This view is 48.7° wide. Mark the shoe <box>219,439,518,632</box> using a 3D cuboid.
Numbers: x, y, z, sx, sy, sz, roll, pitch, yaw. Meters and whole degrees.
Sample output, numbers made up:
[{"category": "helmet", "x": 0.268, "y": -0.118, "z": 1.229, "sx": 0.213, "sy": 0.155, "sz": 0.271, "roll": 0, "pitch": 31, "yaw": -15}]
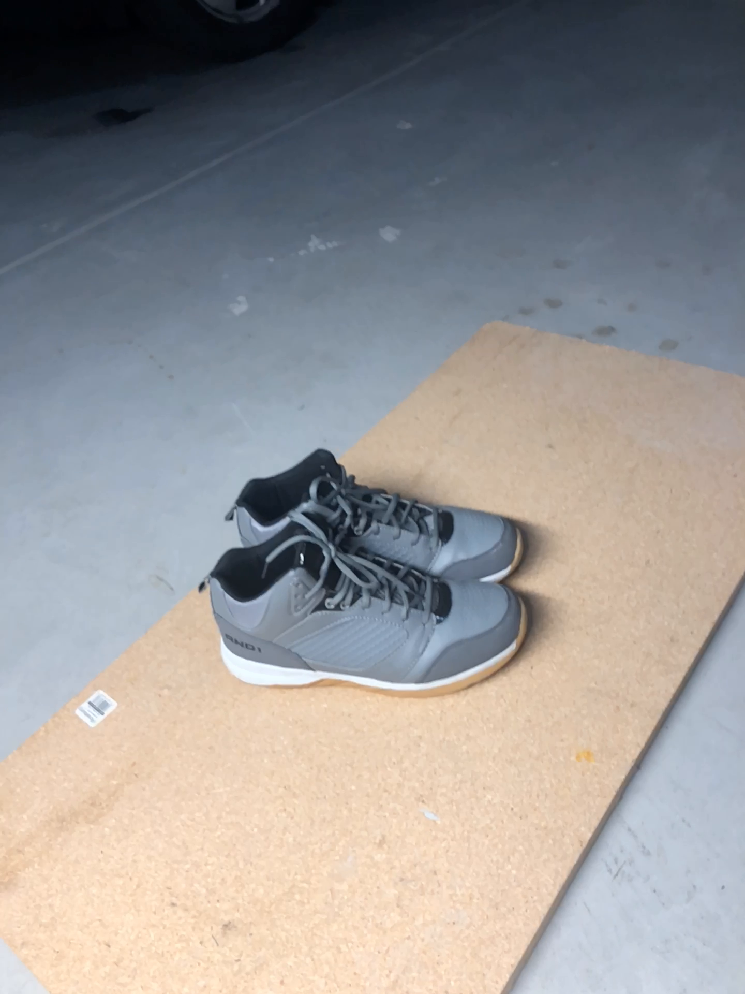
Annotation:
[{"category": "shoe", "x": 0.004, "y": 0.041, "z": 0.808, "sx": 0.260, "sy": 0.140, "sz": 0.100, "roll": -5, "pitch": 41, "yaw": 10}]

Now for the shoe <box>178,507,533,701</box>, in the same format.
[{"category": "shoe", "x": -0.005, "y": 0.096, "z": 0.724, "sx": 0.280, "sy": 0.120, "sz": 0.110, "roll": -2, "pitch": 42, "yaw": 12}]
